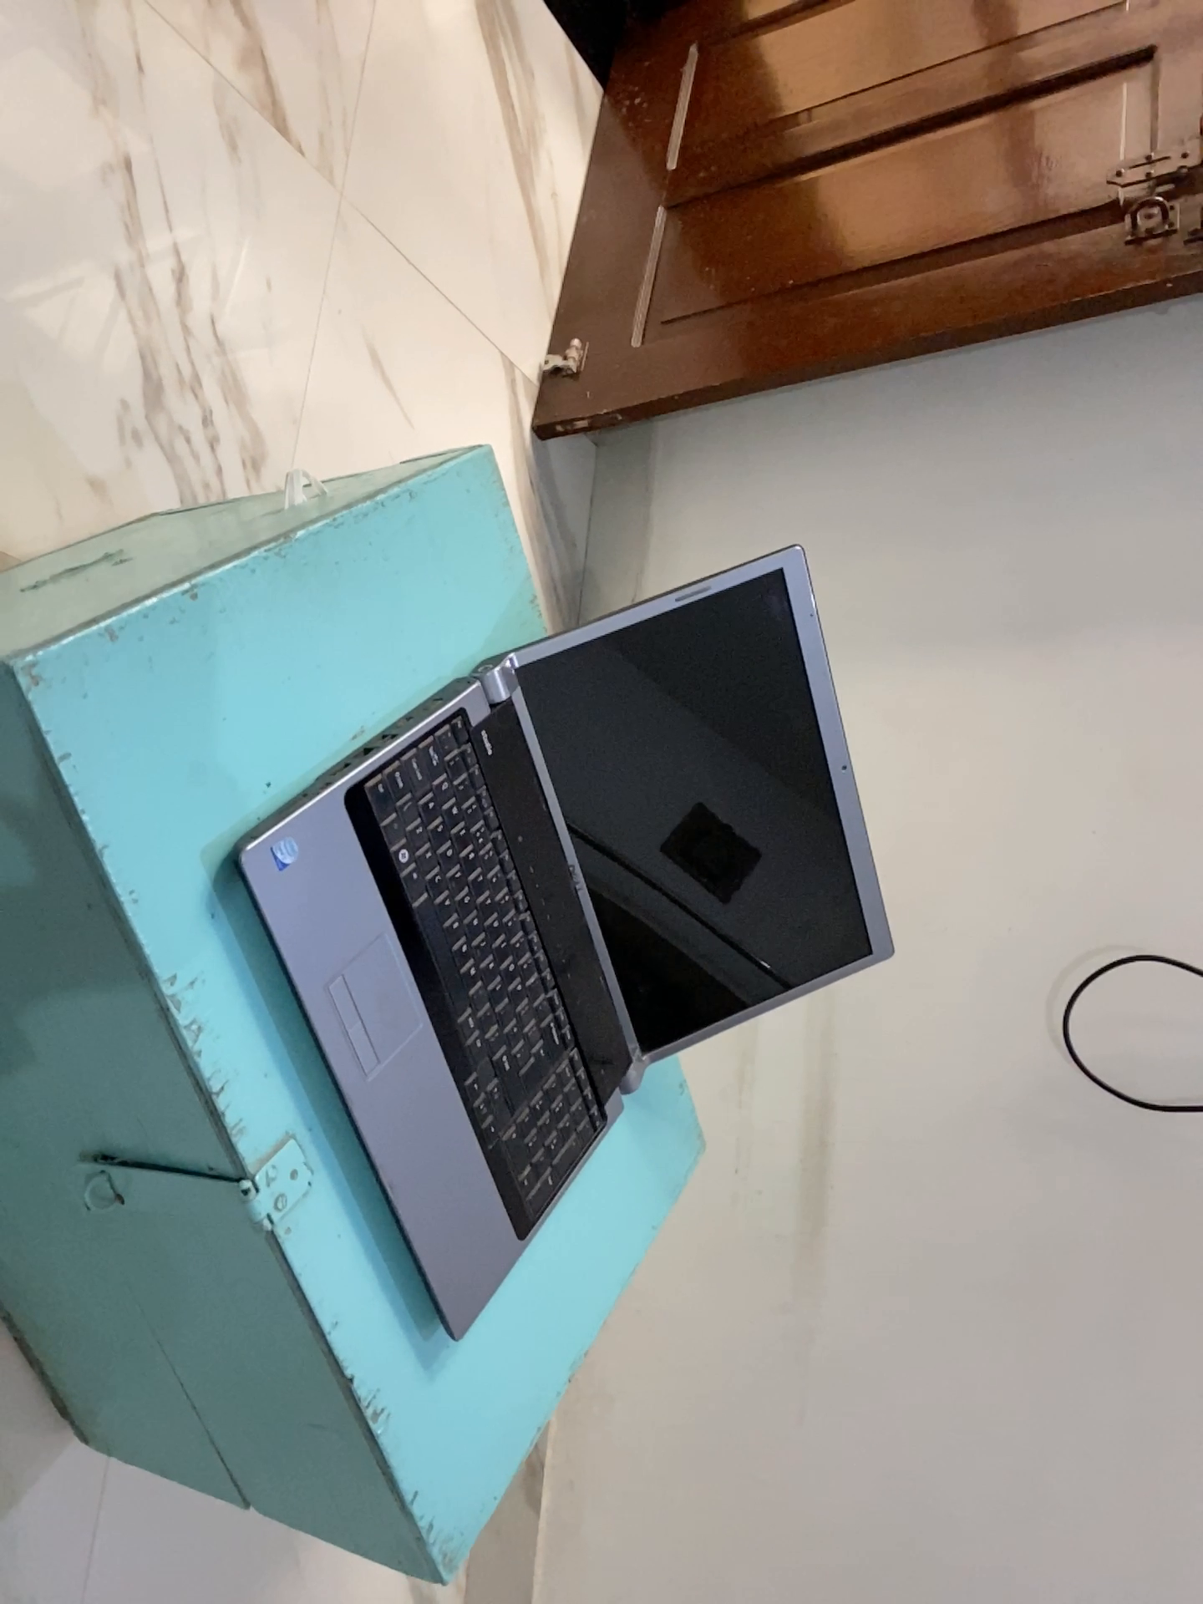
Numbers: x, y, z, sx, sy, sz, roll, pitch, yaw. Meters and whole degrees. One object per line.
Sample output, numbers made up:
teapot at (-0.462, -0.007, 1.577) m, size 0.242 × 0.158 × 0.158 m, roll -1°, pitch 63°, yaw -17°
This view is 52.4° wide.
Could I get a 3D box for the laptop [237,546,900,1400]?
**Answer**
laptop at (0.032, 0.088, 0.908) m, size 0.480 × 0.178 × 0.390 m, roll -46°, pitch 126°, yaw -49°
